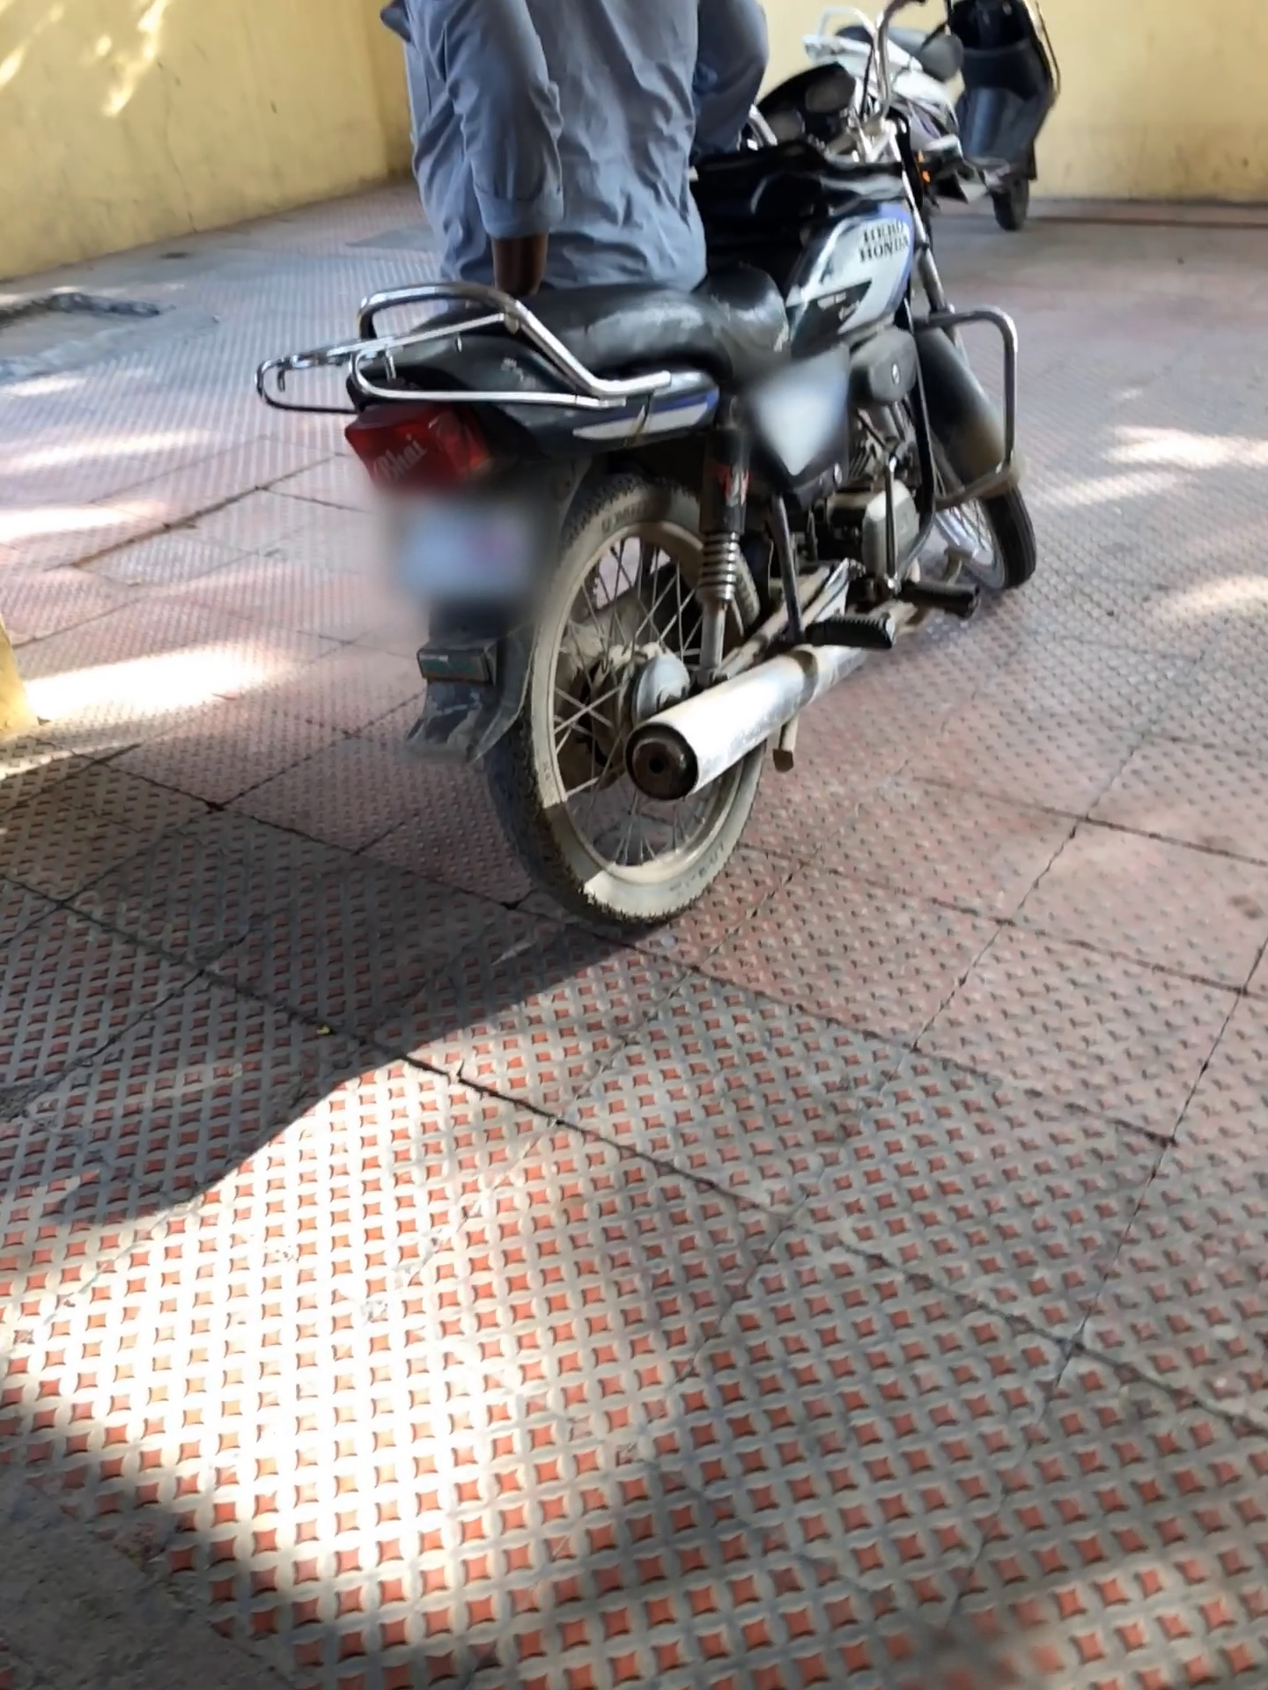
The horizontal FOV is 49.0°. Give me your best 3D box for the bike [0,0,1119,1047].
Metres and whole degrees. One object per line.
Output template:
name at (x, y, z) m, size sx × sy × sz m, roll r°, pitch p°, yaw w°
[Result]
bike at (0.059, -0.644, 1.971) m, size 0.817 × 1.063 × 1.307 m, roll 13°, pitch 39°, yaw 25°
